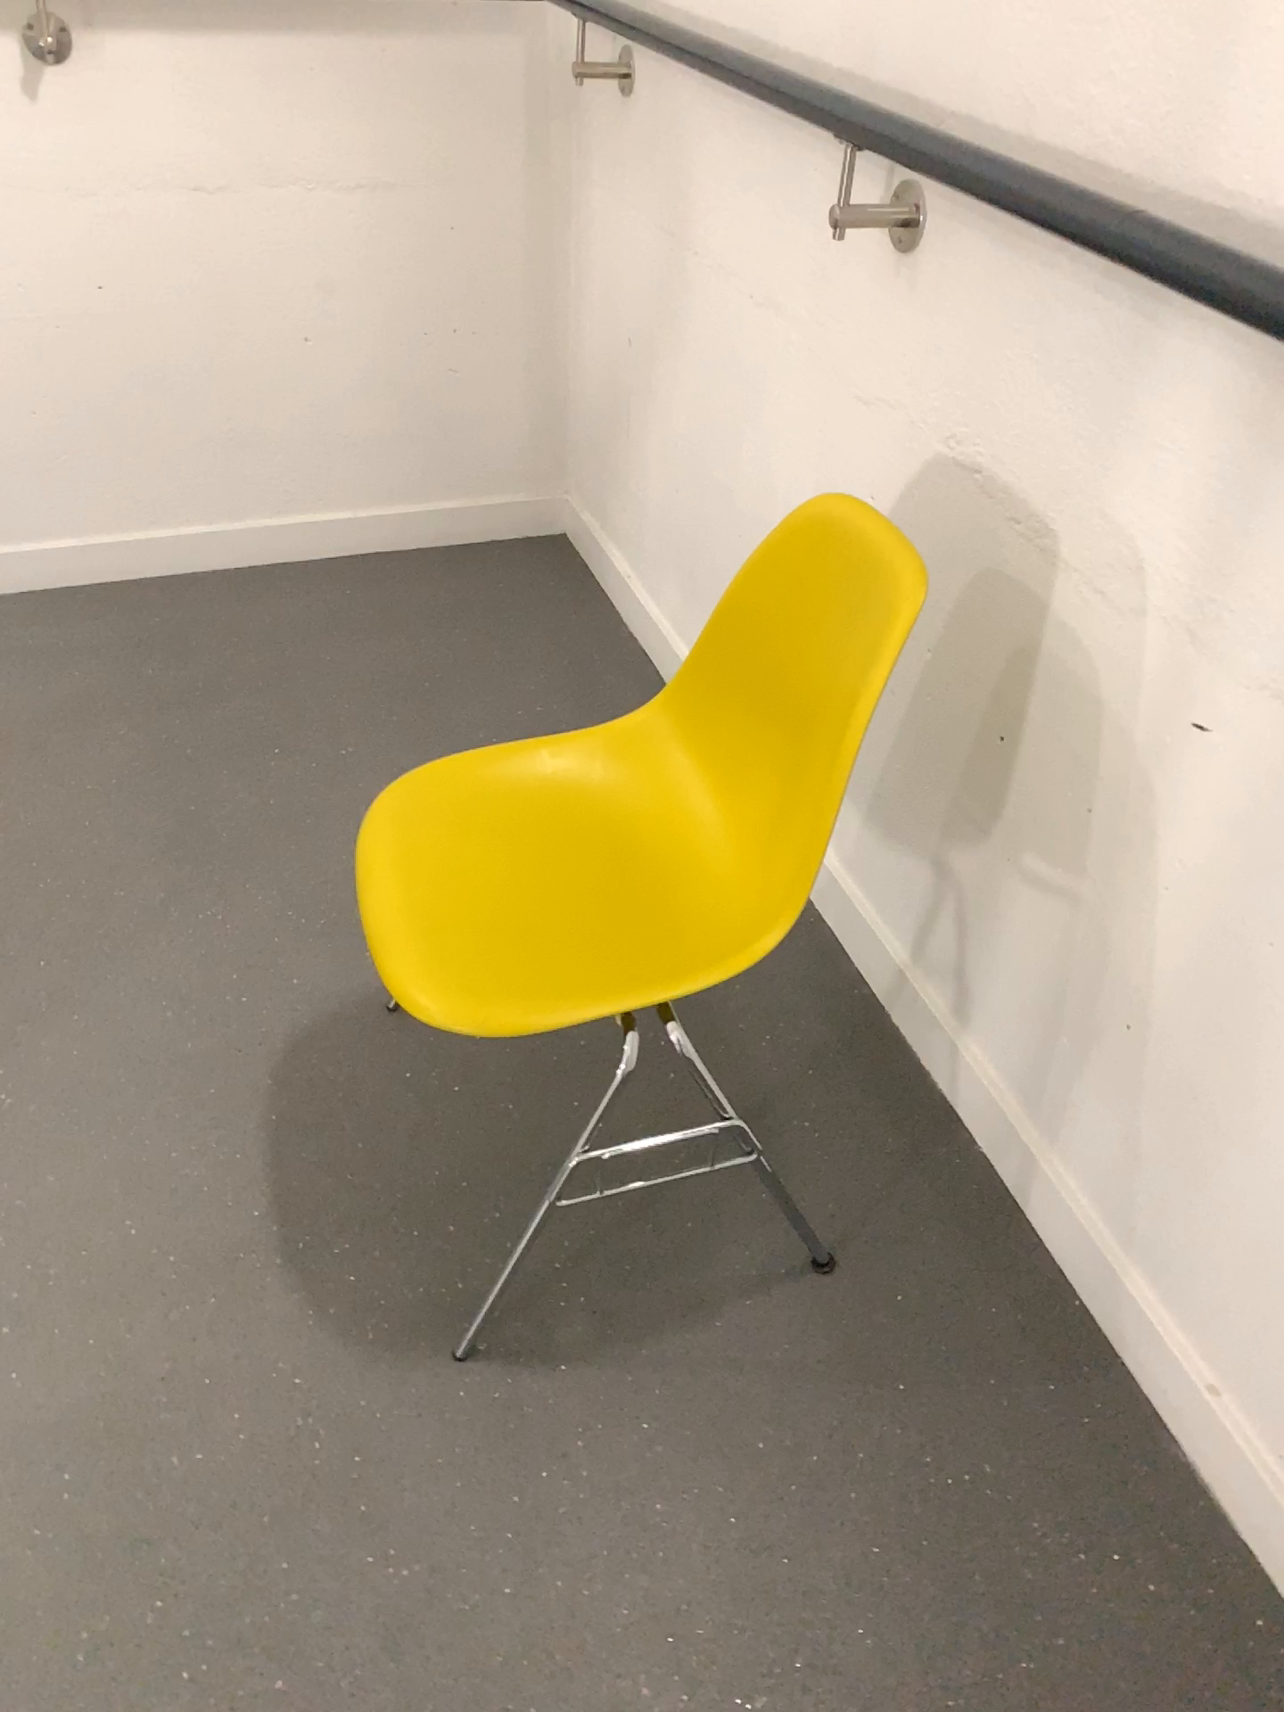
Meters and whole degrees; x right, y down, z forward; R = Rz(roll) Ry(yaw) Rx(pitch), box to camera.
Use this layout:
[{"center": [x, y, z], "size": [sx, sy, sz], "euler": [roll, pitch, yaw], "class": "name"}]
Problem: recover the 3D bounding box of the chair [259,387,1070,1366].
[{"center": [-0.050, -0.009, 1.380], "size": [0.560, 0.732, 0.626], "euler": [-8, 40, -15], "class": "chair"}]
